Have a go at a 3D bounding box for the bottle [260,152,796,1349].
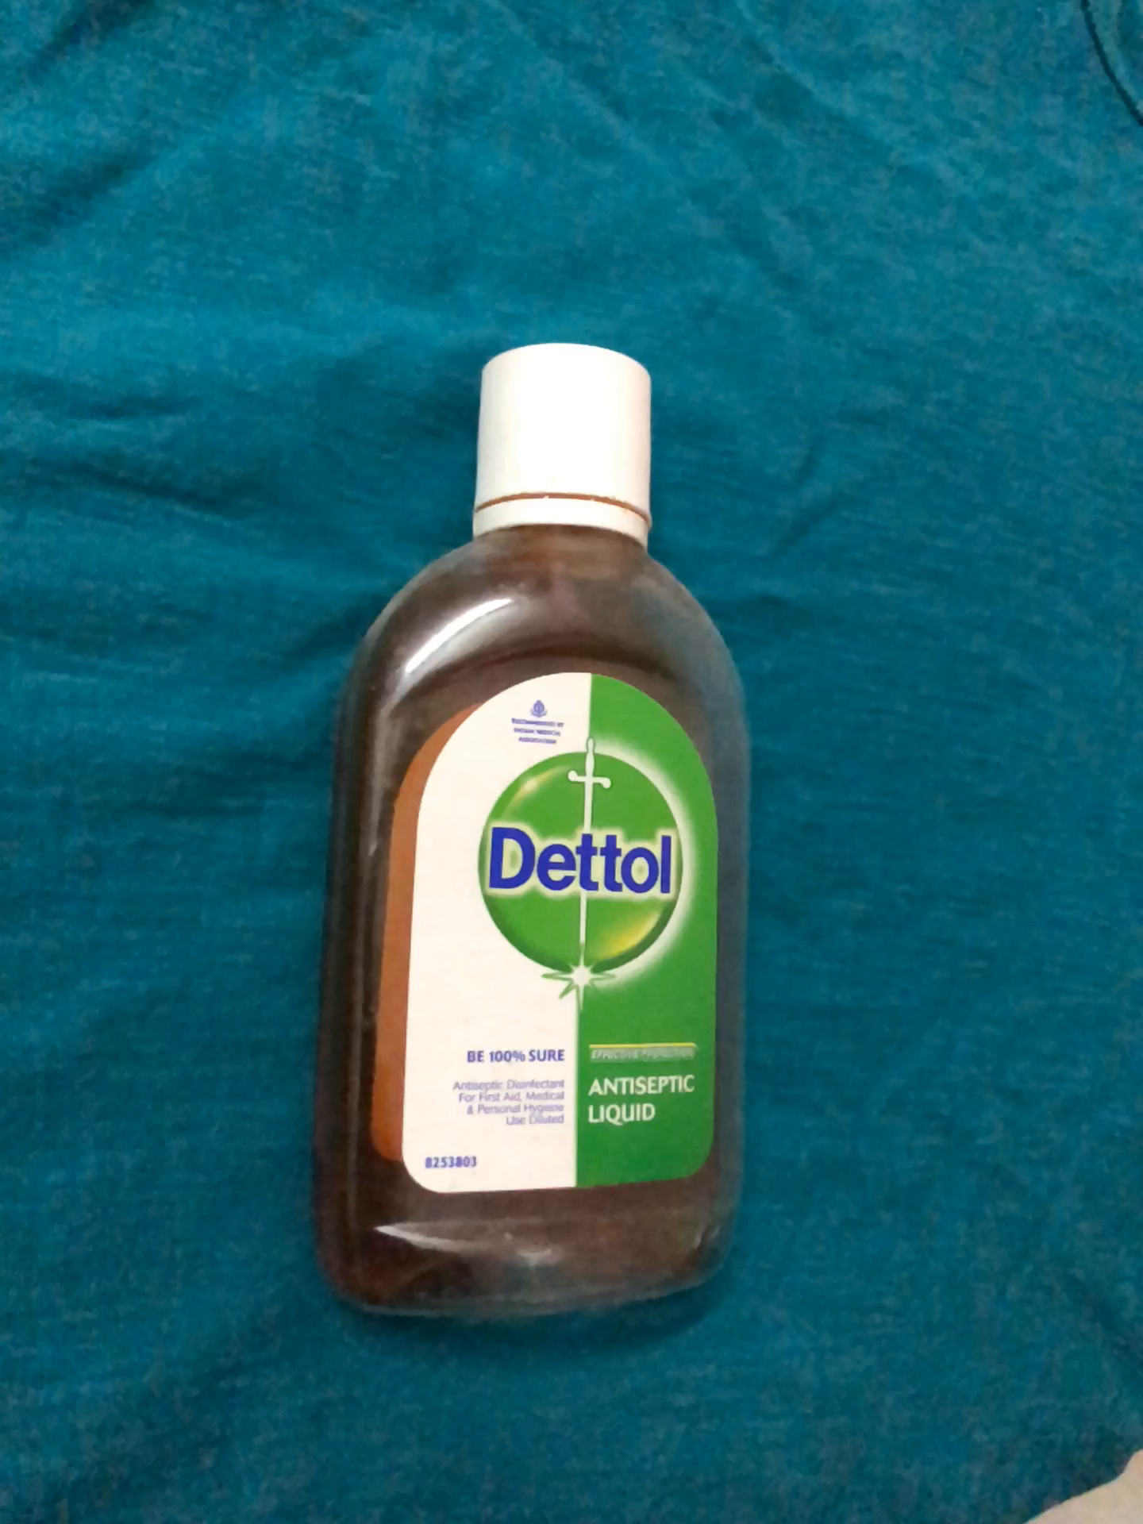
[{"bbox_3d":[-0.005,-0.002,0.227,0.080,0.040,0.180,5,81,-28],"label":"bottle"}]
